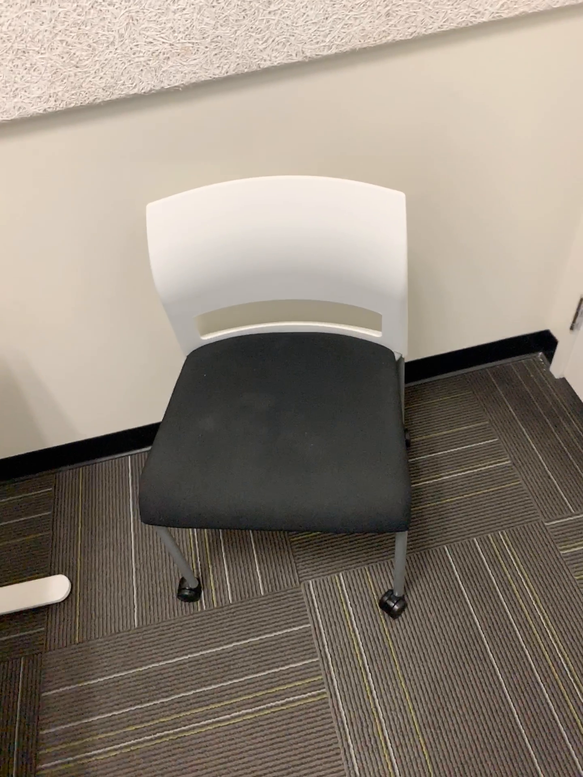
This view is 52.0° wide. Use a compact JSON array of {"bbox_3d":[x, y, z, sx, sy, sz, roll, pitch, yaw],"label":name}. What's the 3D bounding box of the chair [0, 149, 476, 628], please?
[{"bbox_3d":[-0.035,0.050,1.249,0.620,0.776,0.623,-2,49,6],"label":"chair"}]
